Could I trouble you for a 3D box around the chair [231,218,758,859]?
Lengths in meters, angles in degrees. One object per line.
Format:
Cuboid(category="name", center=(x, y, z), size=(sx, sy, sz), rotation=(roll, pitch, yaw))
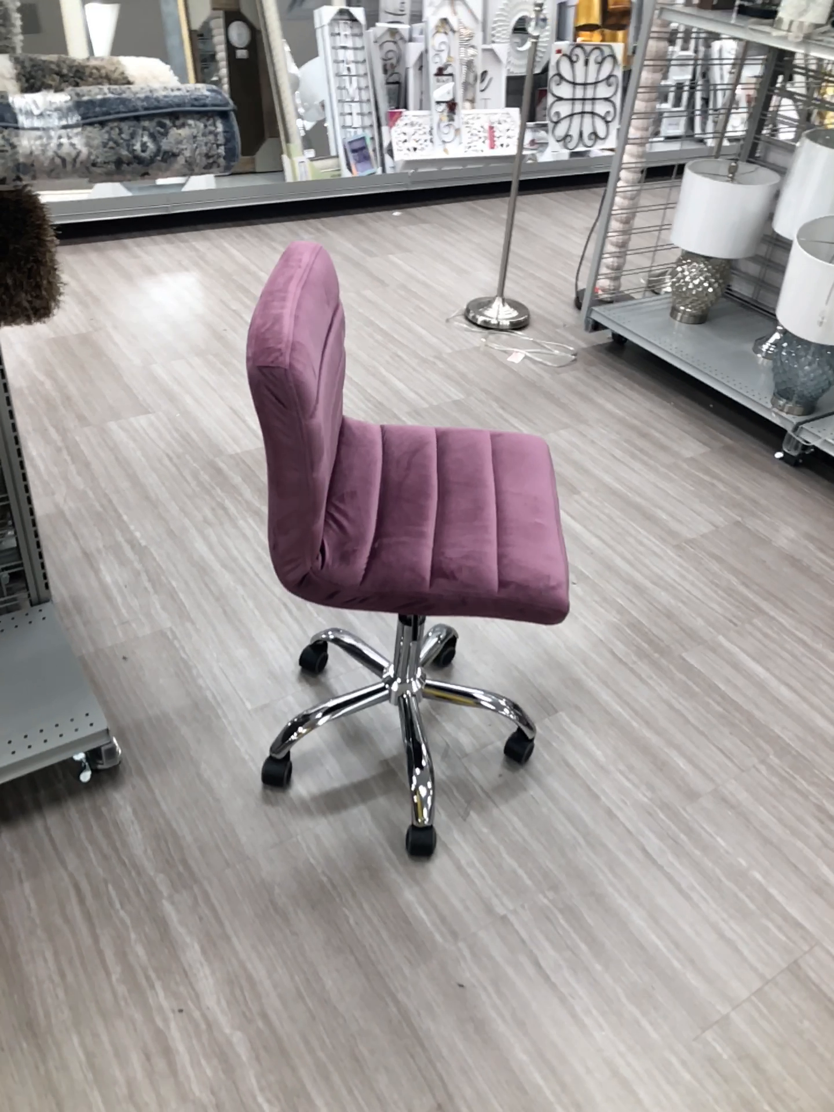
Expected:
Cuboid(category="chair", center=(0.040, -0.018, 1.453), size=(0.577, 0.800, 0.590), rotation=(3, 37, -5))
